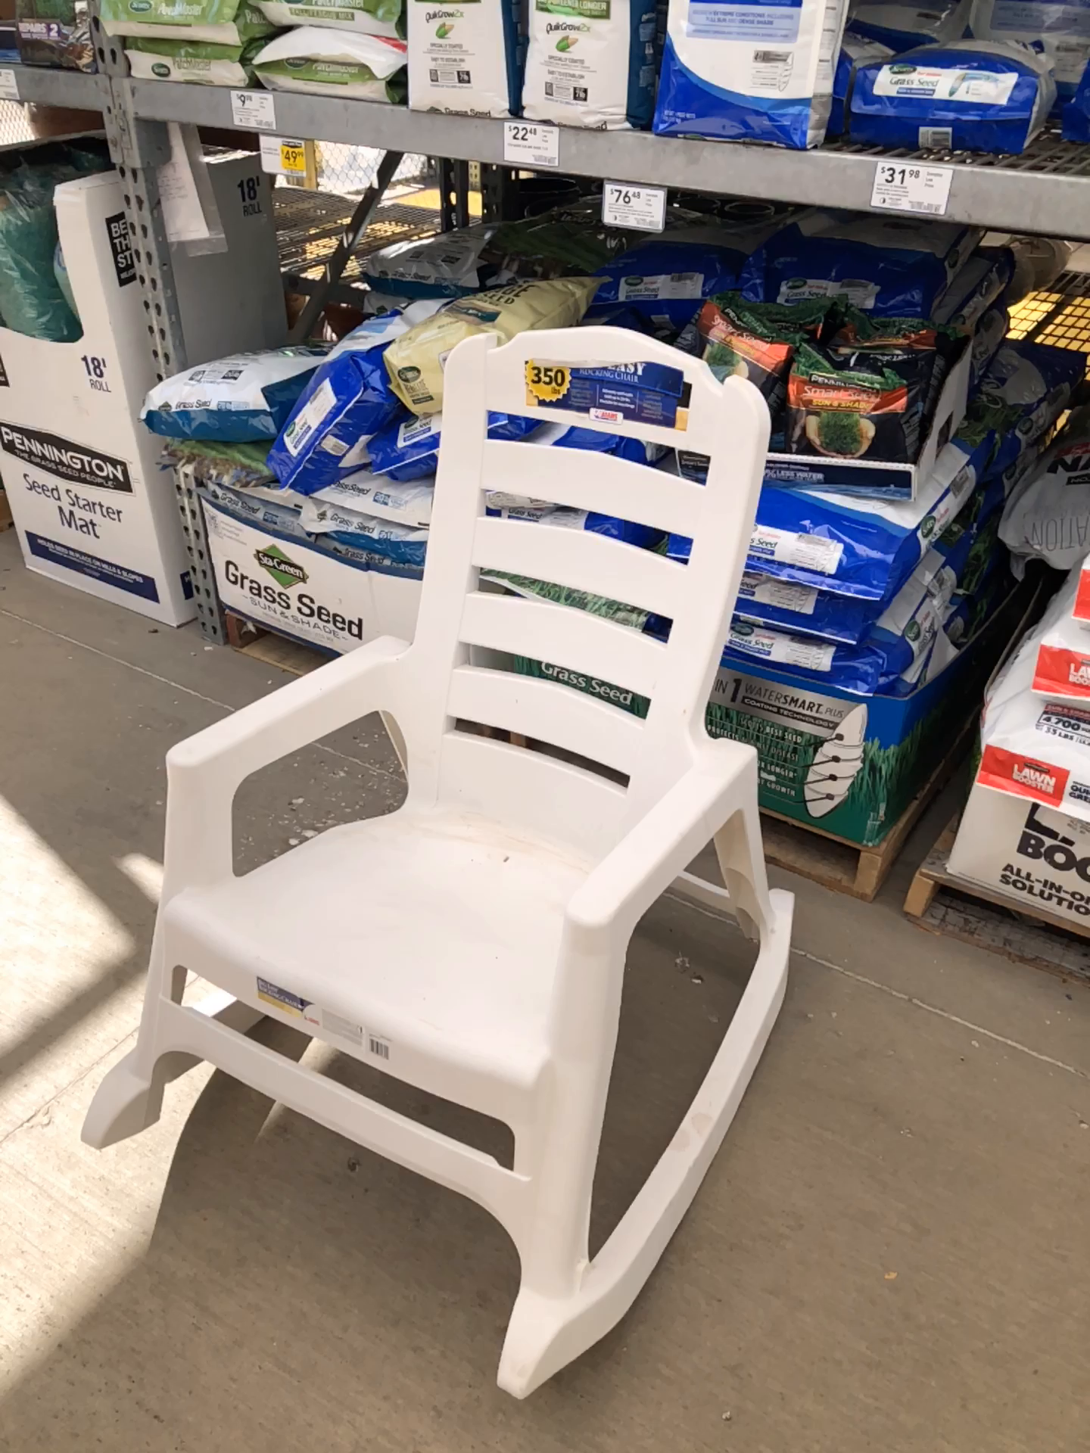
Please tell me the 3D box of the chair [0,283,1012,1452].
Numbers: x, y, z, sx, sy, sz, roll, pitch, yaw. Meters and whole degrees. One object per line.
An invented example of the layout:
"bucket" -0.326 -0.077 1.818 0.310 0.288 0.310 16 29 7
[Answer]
"chair" -0.048 0.068 1.527 0.844 0.927 1.036 18 36 23
